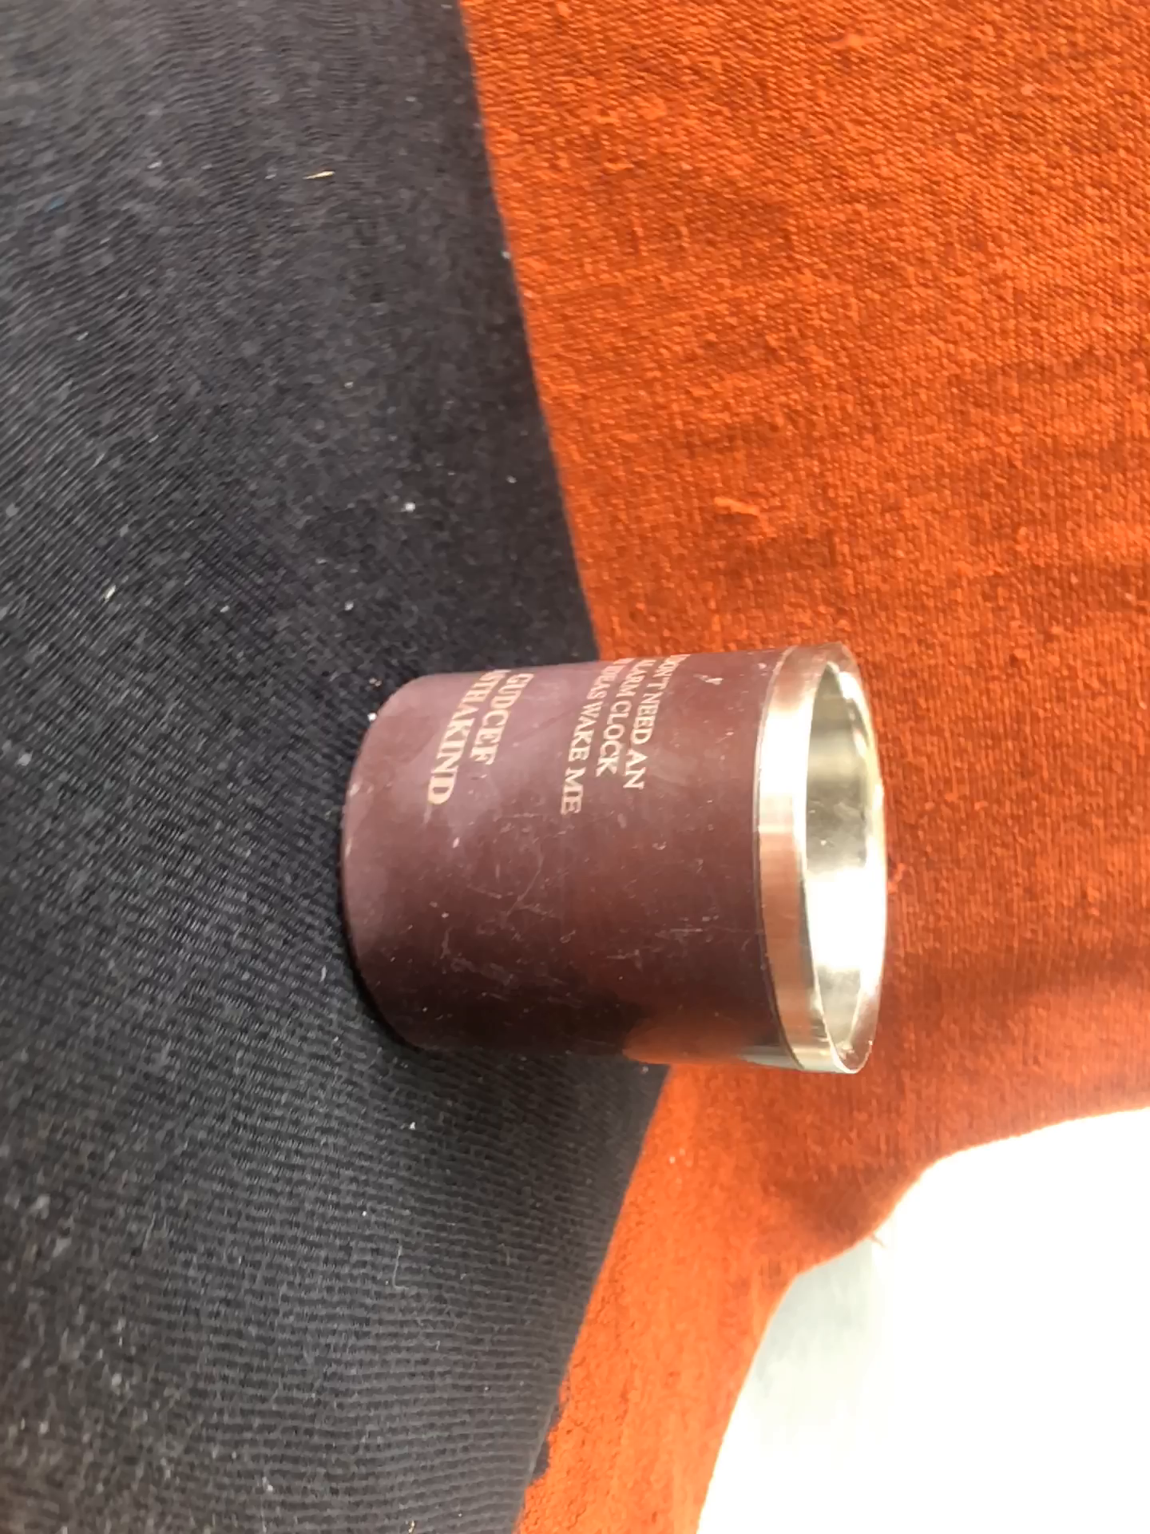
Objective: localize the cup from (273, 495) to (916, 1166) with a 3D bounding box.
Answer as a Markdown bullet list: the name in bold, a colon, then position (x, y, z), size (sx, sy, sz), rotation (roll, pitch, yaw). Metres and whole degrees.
- **cup**: position (0.016, 0.007, 0.269), size (0.111, 0.089, 0.090), rotation (-55, 138, -57)
